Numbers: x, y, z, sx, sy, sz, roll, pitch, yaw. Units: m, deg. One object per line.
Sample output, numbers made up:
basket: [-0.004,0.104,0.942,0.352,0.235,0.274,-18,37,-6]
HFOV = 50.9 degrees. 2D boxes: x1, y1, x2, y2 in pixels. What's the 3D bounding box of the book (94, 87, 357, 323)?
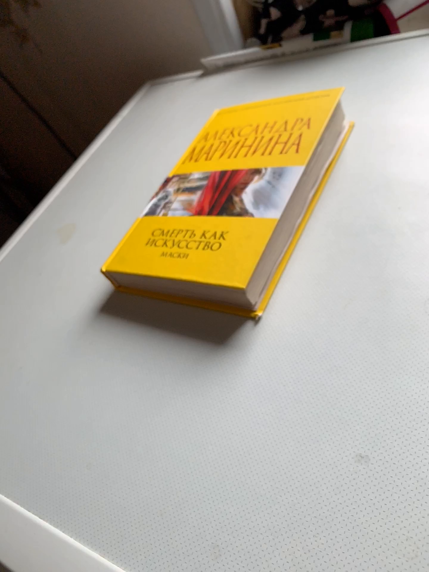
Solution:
book: [0.014,-0.068,0.325,0.120,0.030,0.189,8,55,35]
